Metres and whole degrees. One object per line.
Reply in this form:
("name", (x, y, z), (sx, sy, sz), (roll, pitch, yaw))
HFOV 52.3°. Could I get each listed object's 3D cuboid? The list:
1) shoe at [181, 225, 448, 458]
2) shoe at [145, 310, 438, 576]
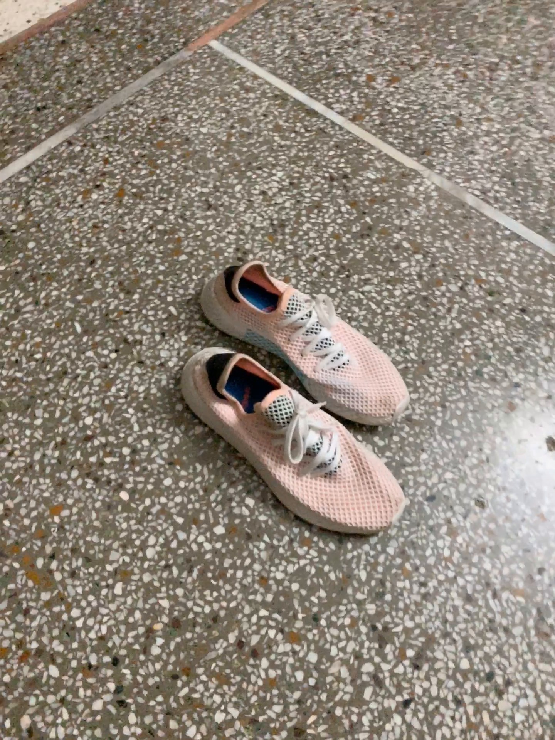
("shoe", (0.039, -0.039, 0.730), (0.310, 0.100, 0.122), (35, 68, 12))
("shoe", (0.009, 0.082, 0.659), (0.310, 0.100, 0.122), (37, 68, 13))
